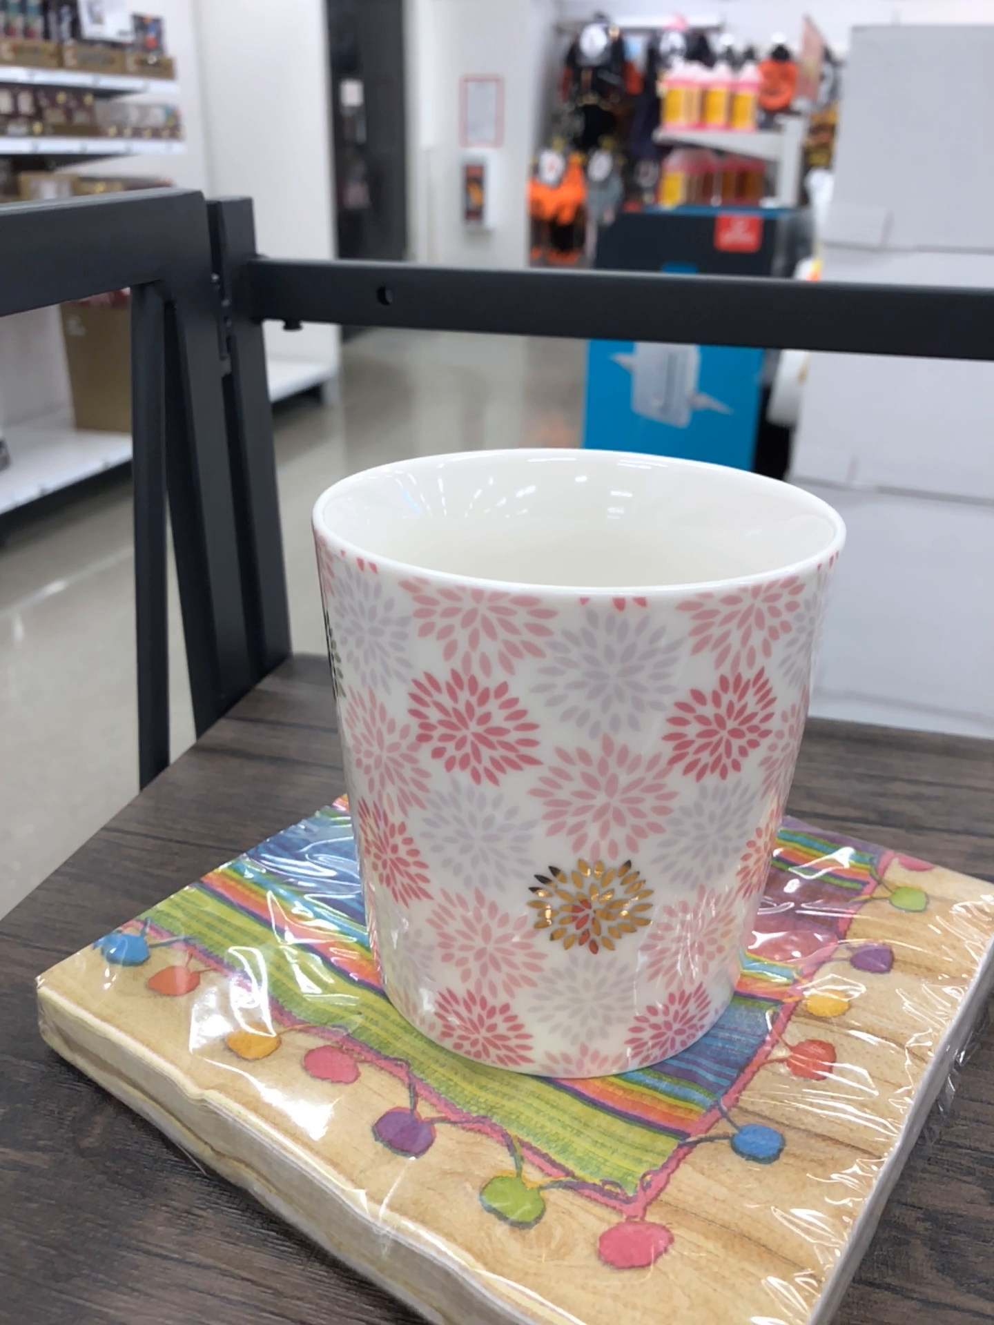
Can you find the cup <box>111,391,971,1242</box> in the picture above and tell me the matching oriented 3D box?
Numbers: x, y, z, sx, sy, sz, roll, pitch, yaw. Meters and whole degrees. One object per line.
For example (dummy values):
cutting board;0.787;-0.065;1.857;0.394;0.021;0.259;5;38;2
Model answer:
cup;0.016;0.011;0.235;0.100;0.100;0.140;20;31;35
